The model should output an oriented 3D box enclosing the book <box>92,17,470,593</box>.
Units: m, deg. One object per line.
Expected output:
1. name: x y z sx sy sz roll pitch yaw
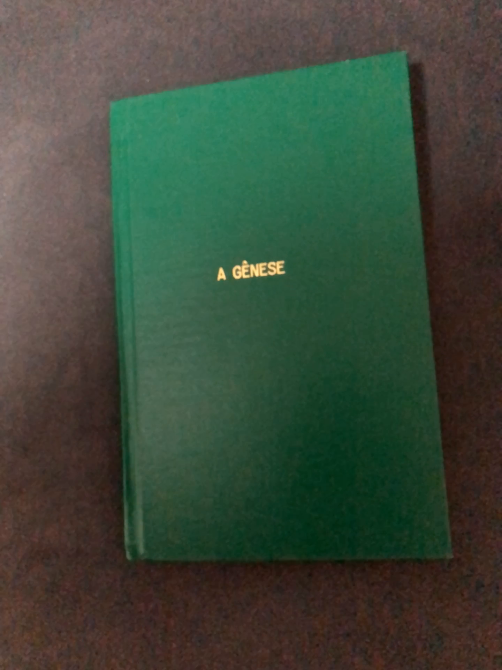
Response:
1. book: 0.008 -0.011 0.265 0.150 0.040 0.240 -5 83 11
